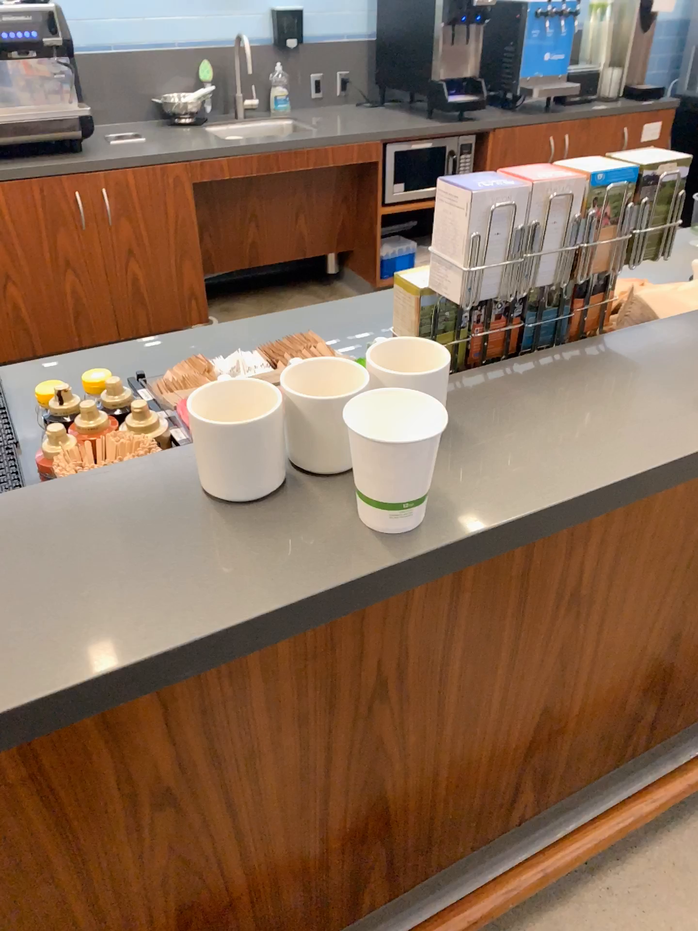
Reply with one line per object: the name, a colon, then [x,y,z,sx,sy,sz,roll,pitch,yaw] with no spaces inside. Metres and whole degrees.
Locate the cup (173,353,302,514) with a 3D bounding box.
cup: [-0.109,-0.034,0.700,0.090,0.099,0.111,-13,37,-18]

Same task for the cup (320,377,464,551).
cup: [0.038,-0.004,0.622,0.090,0.099,0.090,0,35,0]

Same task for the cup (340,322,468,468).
cup: [0.054,-0.078,0.766,0.090,0.099,0.111,-14,37,-20]

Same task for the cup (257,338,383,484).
cup: [-0.031,-0.058,0.724,0.090,0.089,0.111,-13,37,-18]
